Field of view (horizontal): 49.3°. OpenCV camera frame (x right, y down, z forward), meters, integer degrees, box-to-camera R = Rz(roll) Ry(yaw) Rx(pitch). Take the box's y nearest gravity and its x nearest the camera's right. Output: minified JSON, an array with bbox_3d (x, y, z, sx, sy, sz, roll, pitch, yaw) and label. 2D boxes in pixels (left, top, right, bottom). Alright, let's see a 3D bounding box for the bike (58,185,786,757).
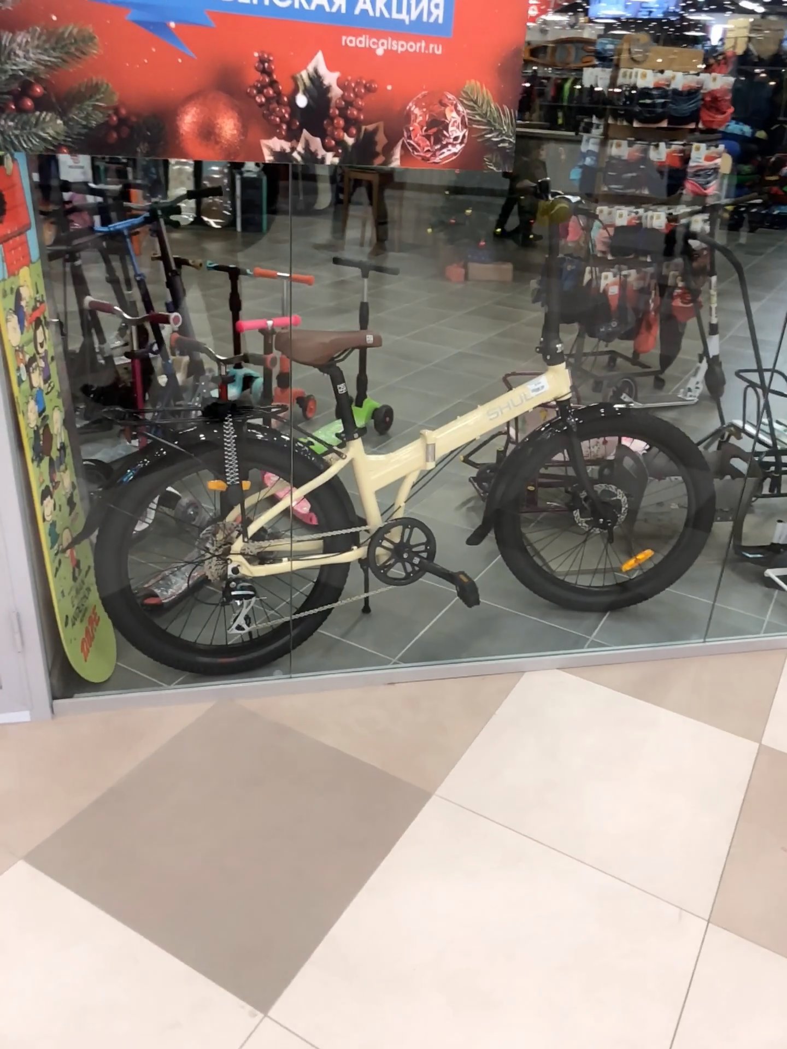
[{"bbox_3d":[0.162,-0.169,2.193,1.703,1.175,0.596,-4,26,-17],"label":"bike"}]
